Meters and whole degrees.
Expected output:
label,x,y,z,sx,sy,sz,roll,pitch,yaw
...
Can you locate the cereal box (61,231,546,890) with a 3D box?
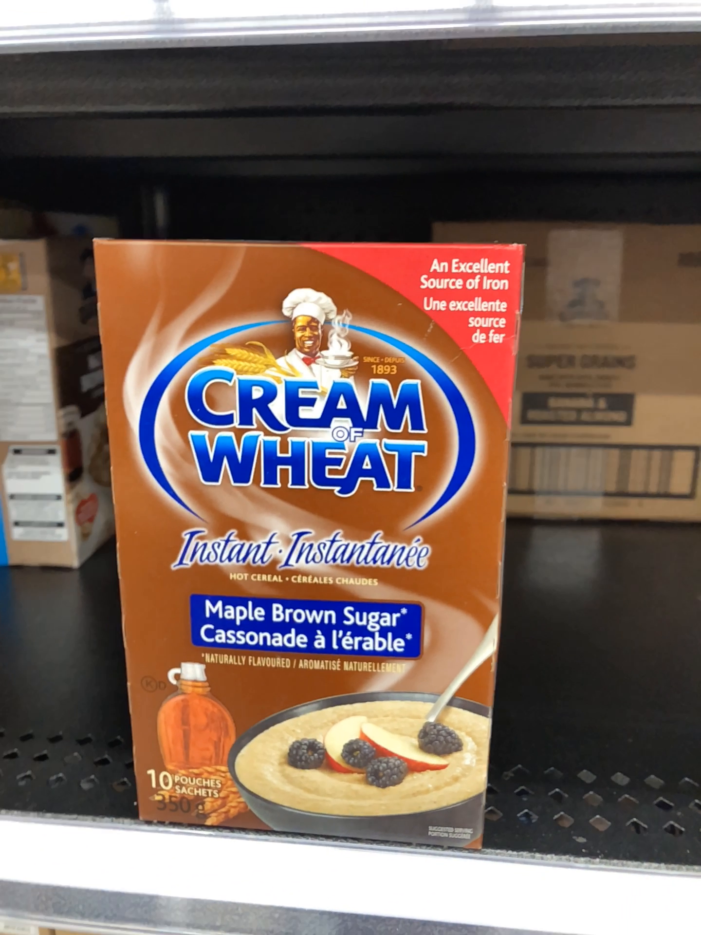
label,x,y,z,sx,sy,sz,roll,pitch,yaw
cereal box,-0.011,0.029,0.266,0.130,0.209,0.060,2,17,6
